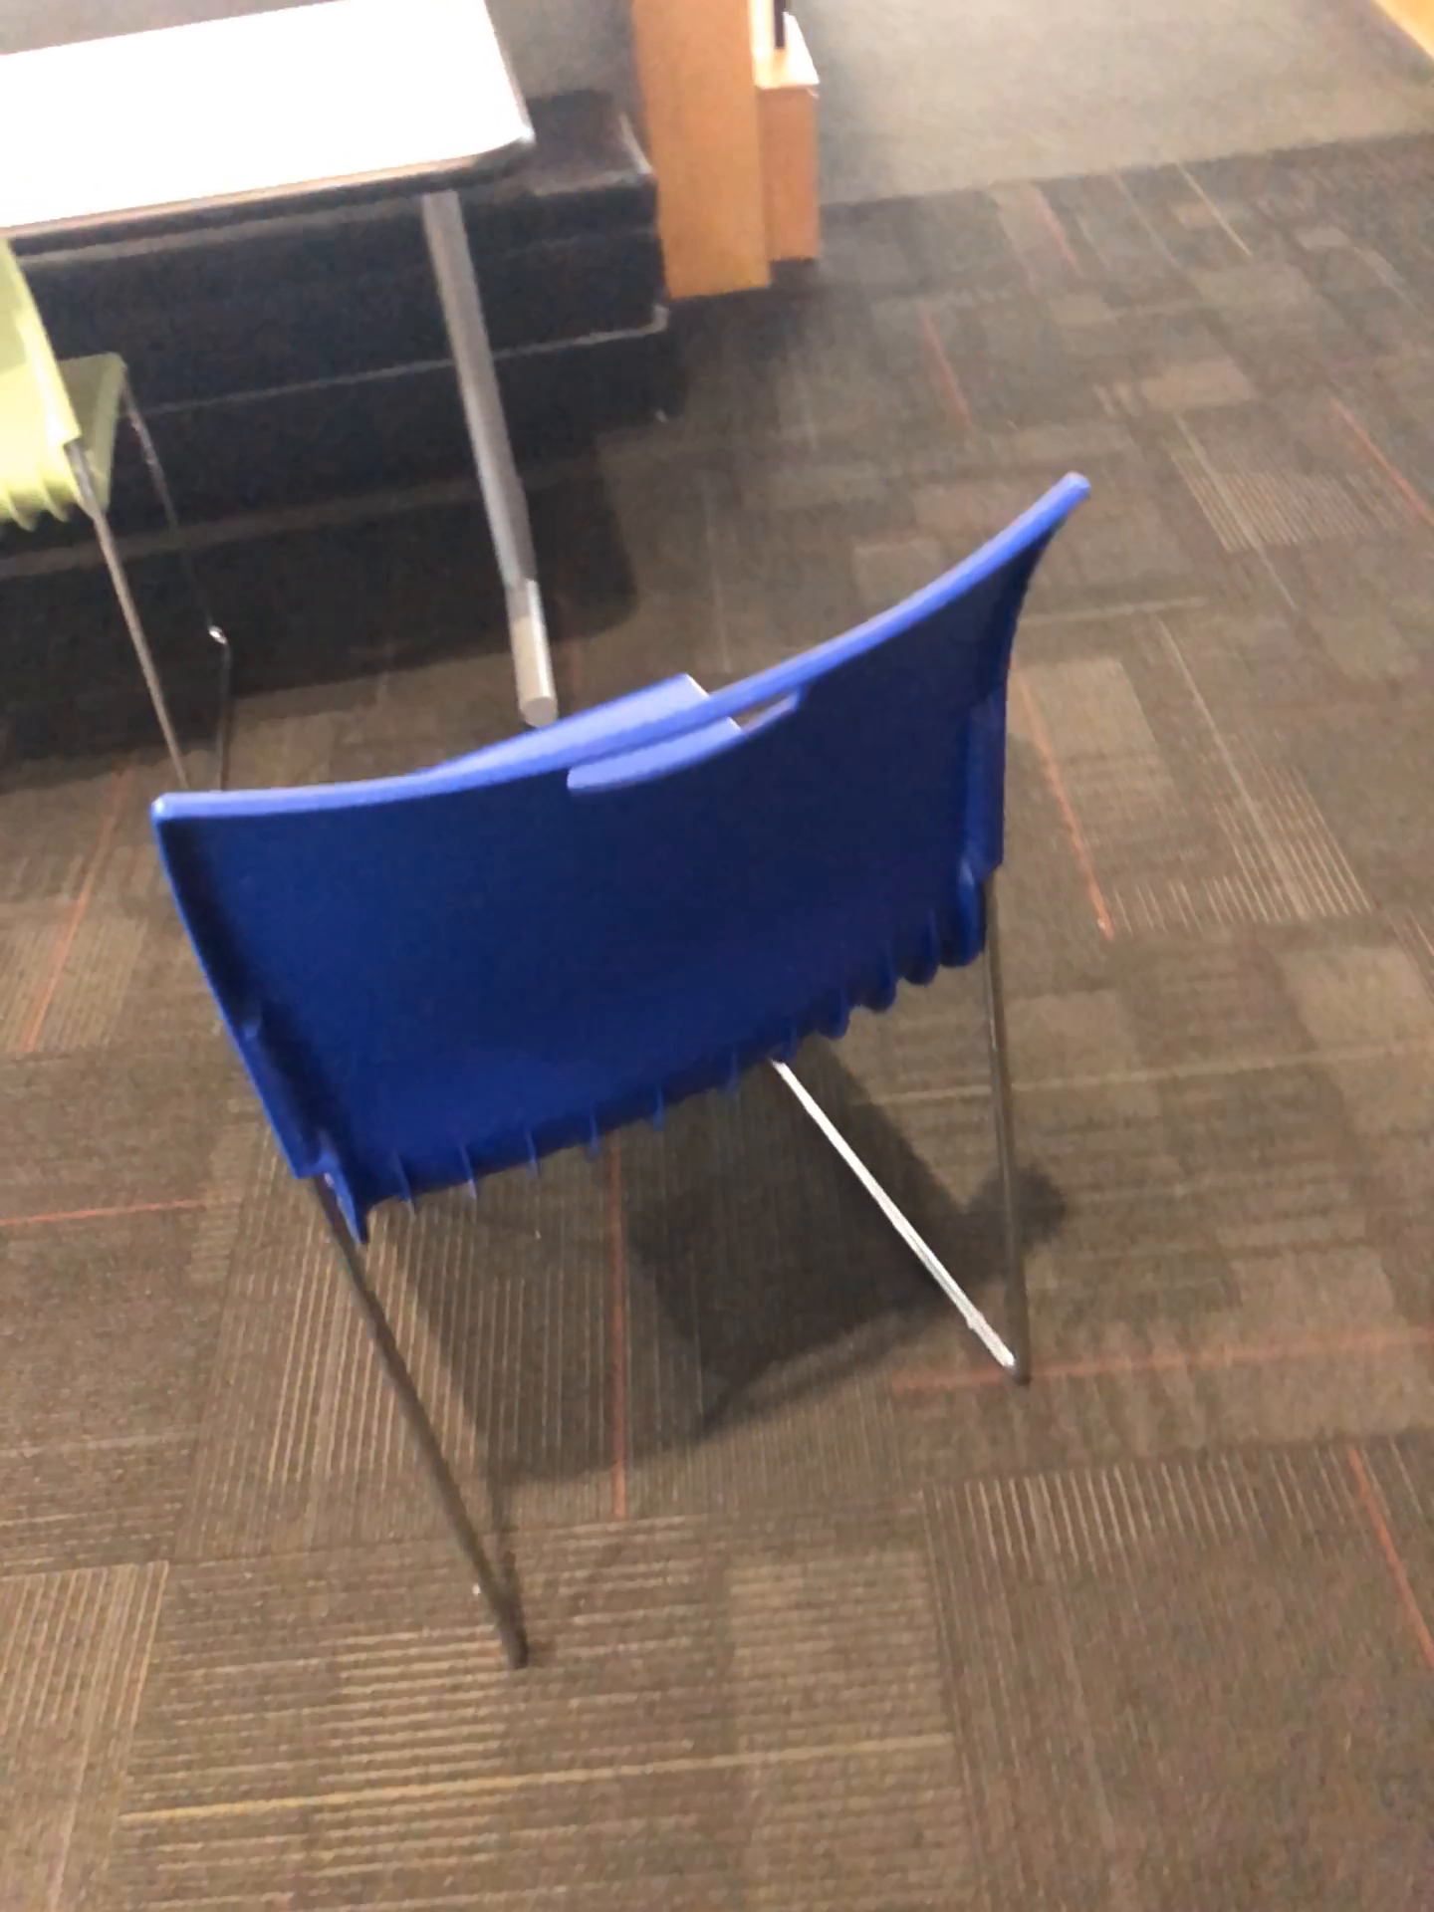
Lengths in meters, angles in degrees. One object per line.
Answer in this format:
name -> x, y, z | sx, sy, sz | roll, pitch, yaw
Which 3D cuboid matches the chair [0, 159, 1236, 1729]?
chair -> -0.115, -0.023, 1.116 | 0.580, 0.756, 0.593 | -23, 45, -17
